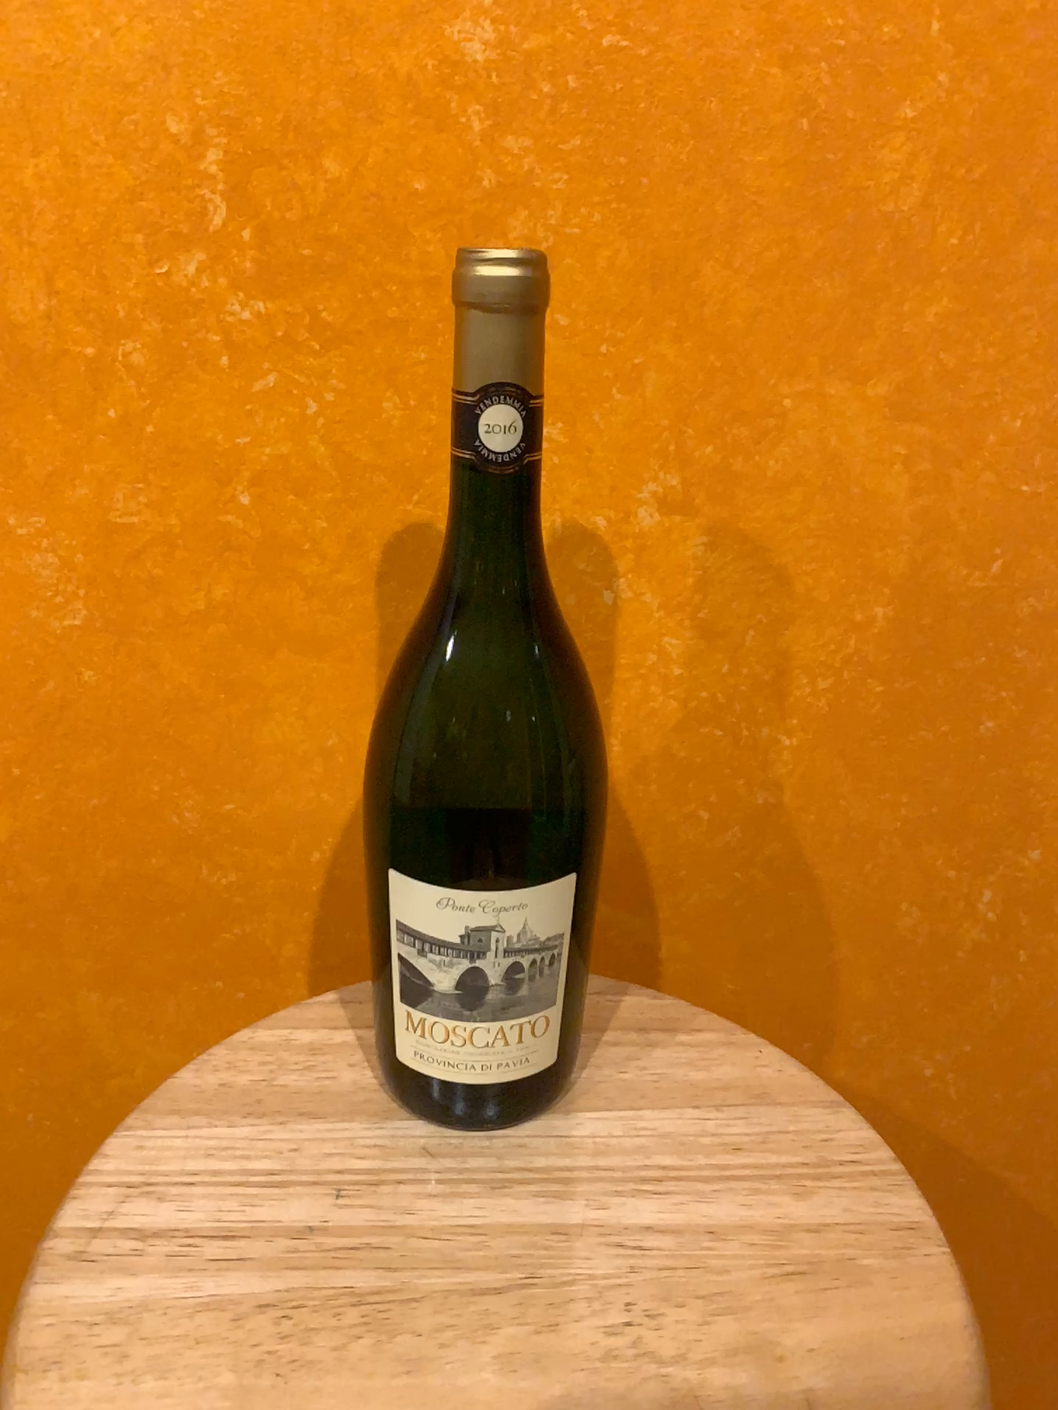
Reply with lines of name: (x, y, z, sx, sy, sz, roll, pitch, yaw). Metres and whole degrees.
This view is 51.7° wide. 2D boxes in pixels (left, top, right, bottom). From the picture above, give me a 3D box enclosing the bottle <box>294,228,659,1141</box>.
bottle: (-0.019, 0.004, 0.357, 0.090, 0.289, 0.070, 3, 23, 0)
